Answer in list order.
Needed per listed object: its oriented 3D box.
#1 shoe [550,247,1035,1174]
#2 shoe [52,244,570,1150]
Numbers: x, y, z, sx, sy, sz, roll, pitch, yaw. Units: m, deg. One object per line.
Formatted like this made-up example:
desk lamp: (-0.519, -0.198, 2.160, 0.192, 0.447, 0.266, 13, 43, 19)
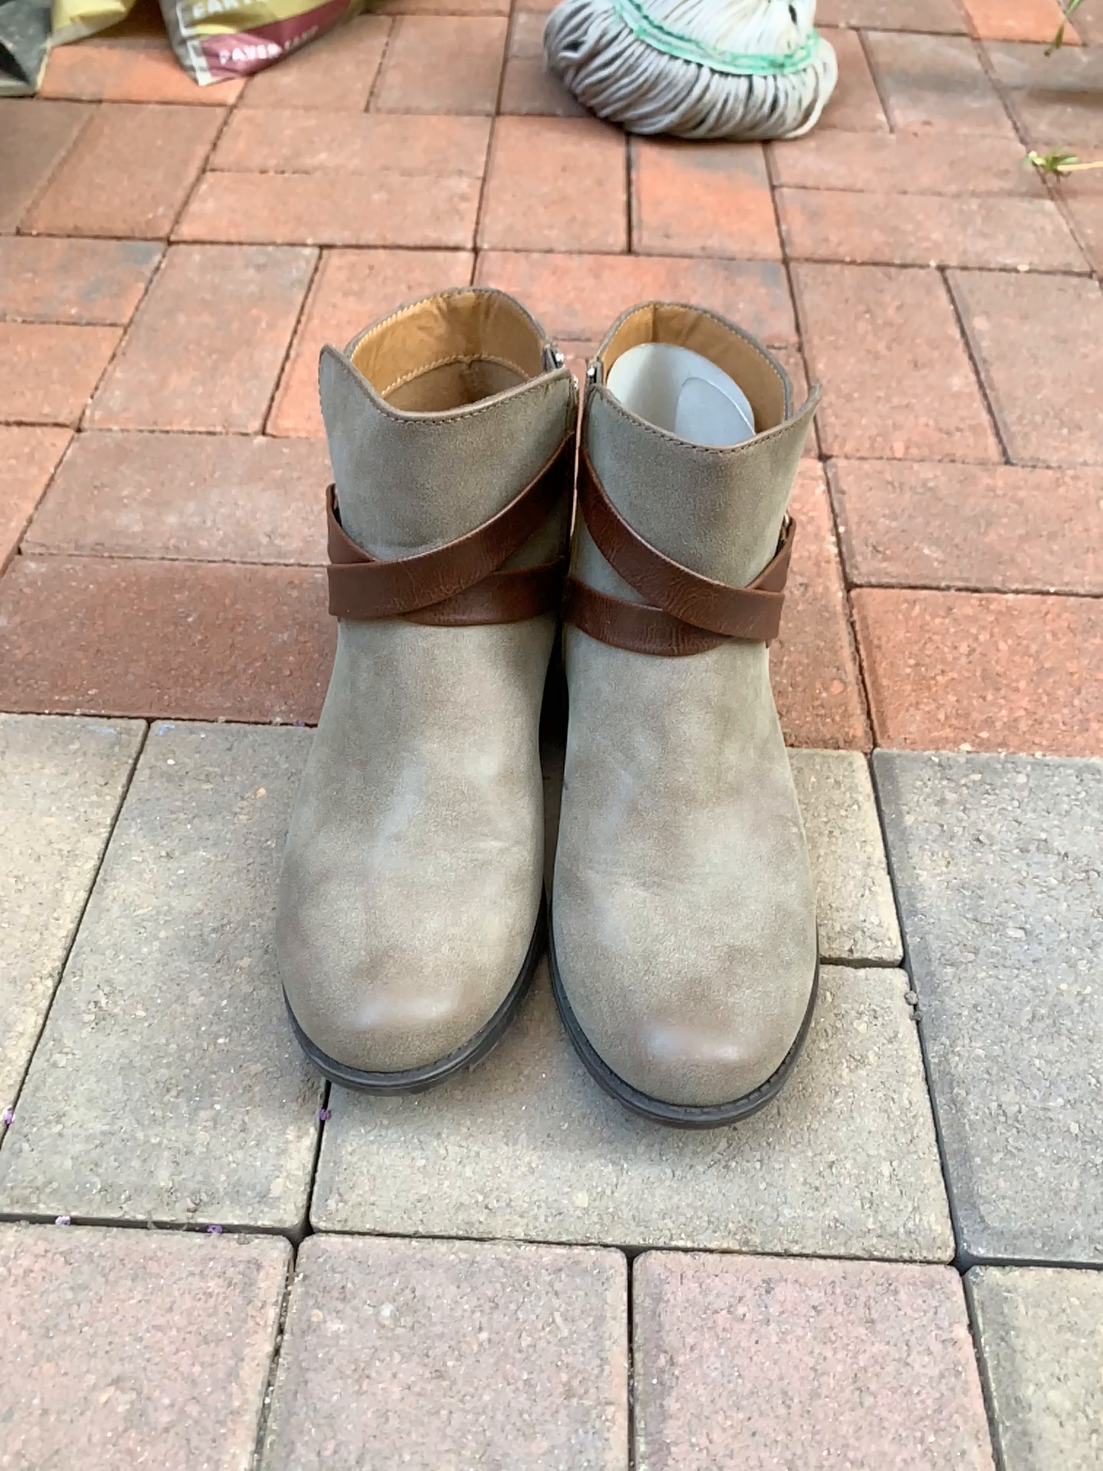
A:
shoe: (0.050, -0.015, 0.369, 0.095, 0.165, 0.253, 1, 51, 1)
shoe: (-0.047, -0.018, 0.368, 0.095, 0.165, 0.240, 2, 51, 2)
